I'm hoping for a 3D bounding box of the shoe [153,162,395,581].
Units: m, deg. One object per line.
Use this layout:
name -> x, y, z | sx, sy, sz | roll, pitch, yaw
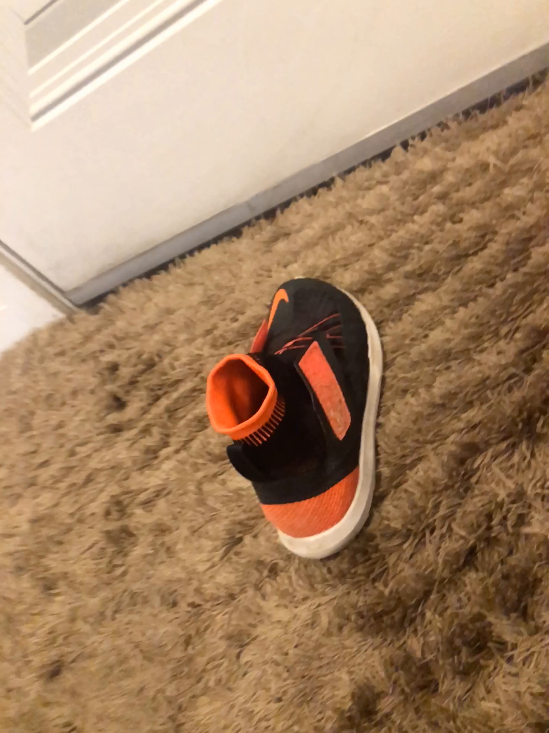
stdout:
shoe -> 0.011, -0.001, 0.506 | 0.111, 0.139, 0.303 | -18, 50, 26
